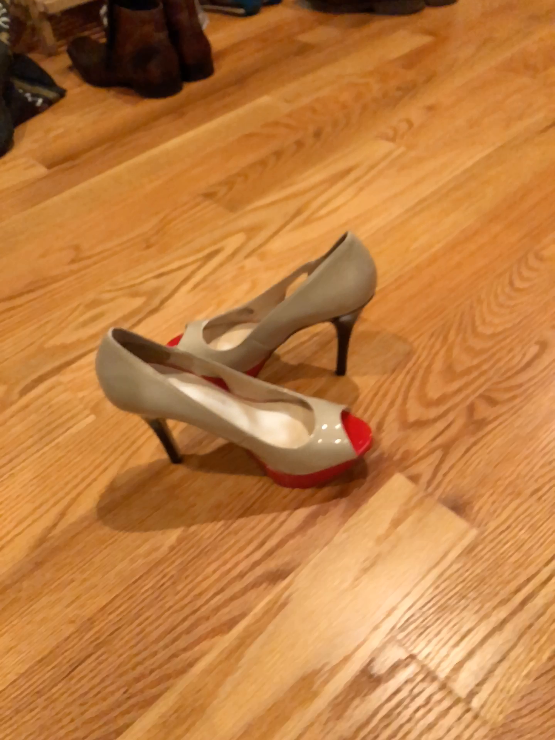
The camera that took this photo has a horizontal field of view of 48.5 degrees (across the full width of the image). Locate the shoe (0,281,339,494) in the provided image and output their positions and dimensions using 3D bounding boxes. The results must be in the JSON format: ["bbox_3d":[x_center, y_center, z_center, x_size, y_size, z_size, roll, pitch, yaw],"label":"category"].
[{"bbox_3d":[-0.067,0.015,0.449,0.215,0.129,0.085,0,46,8],"label":"shoe"}]

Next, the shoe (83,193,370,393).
[{"bbox_3d":[-0.032,-0.062,0.546,0.220,0.149,0.080,-2,46,7],"label":"shoe"}]
